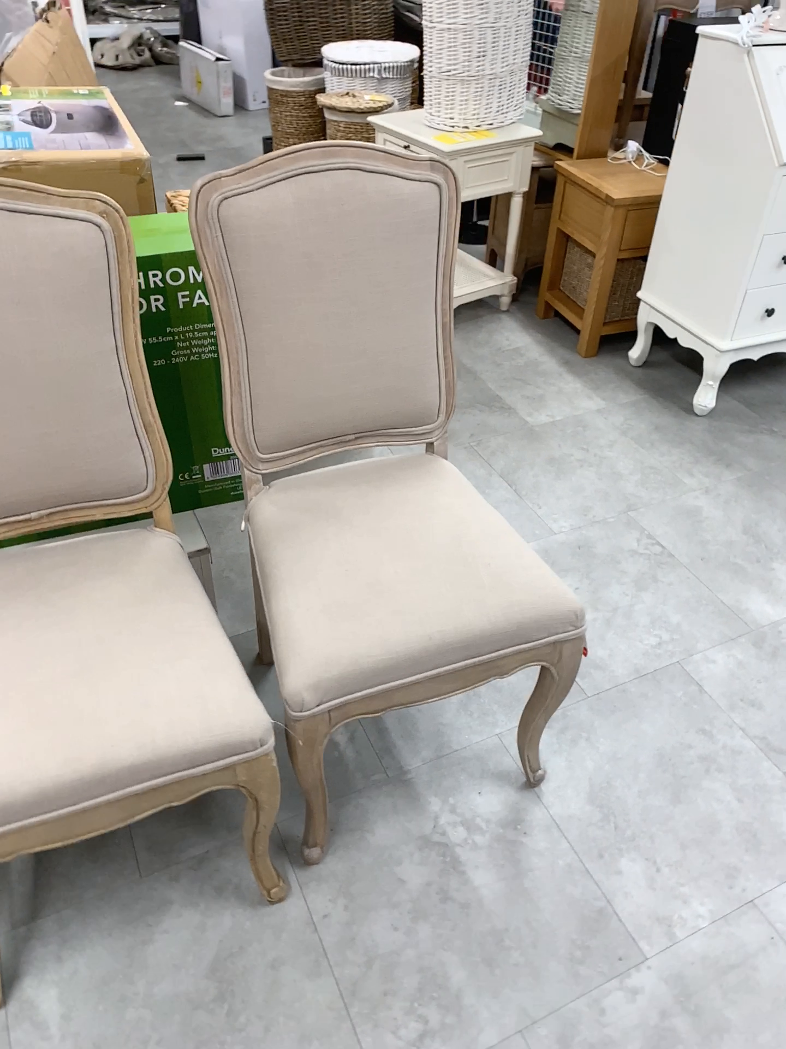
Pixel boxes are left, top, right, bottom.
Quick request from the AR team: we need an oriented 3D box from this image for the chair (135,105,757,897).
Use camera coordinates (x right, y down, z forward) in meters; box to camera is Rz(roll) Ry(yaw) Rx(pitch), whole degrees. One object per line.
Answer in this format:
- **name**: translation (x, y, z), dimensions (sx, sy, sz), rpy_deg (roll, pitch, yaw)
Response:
- **chair**: translation (0.010, -0.012, 1.218), dimensions (0.507, 0.973, 0.550), rpy_deg (-16, 44, -19)

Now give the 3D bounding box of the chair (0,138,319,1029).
- **chair**: translation (-0.439, 0.108, 1.061), dimensions (0.507, 0.973, 0.550), rpy_deg (-12, 42, -15)
